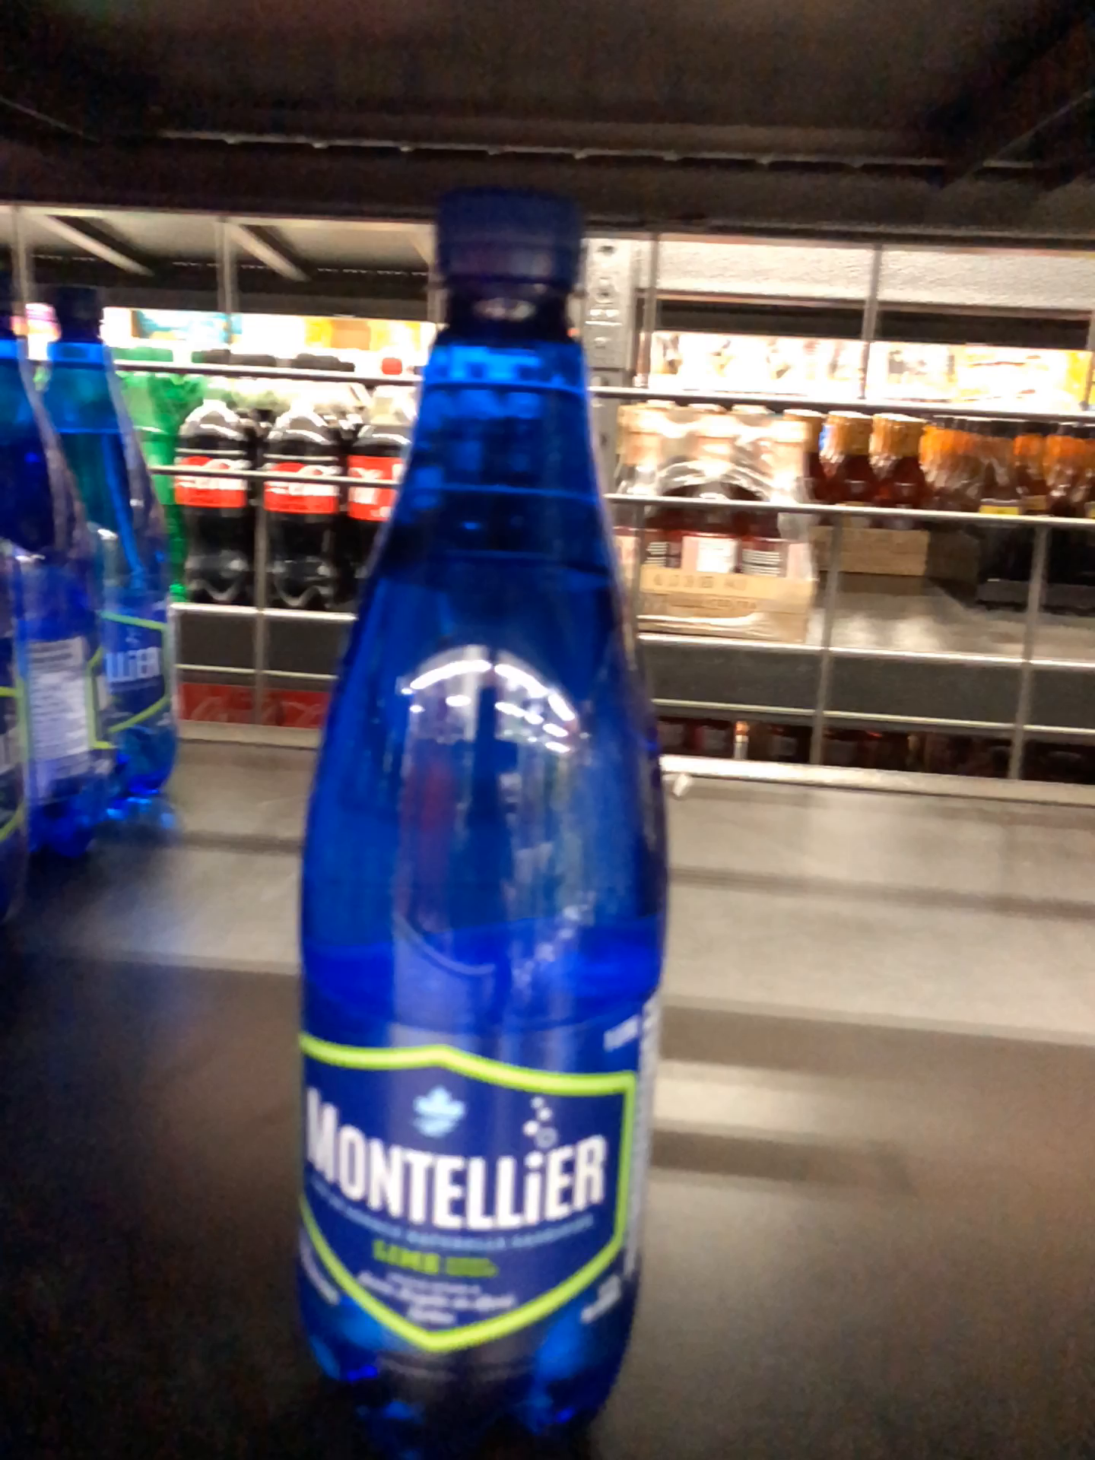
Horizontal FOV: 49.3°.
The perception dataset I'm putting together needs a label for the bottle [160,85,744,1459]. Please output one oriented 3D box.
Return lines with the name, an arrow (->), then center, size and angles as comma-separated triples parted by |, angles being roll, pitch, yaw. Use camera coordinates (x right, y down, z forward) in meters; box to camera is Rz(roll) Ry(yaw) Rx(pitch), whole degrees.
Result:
bottle -> -0.018, 0.019, 0.282 | 0.100, 0.289, 0.090 | 4, 15, 6
